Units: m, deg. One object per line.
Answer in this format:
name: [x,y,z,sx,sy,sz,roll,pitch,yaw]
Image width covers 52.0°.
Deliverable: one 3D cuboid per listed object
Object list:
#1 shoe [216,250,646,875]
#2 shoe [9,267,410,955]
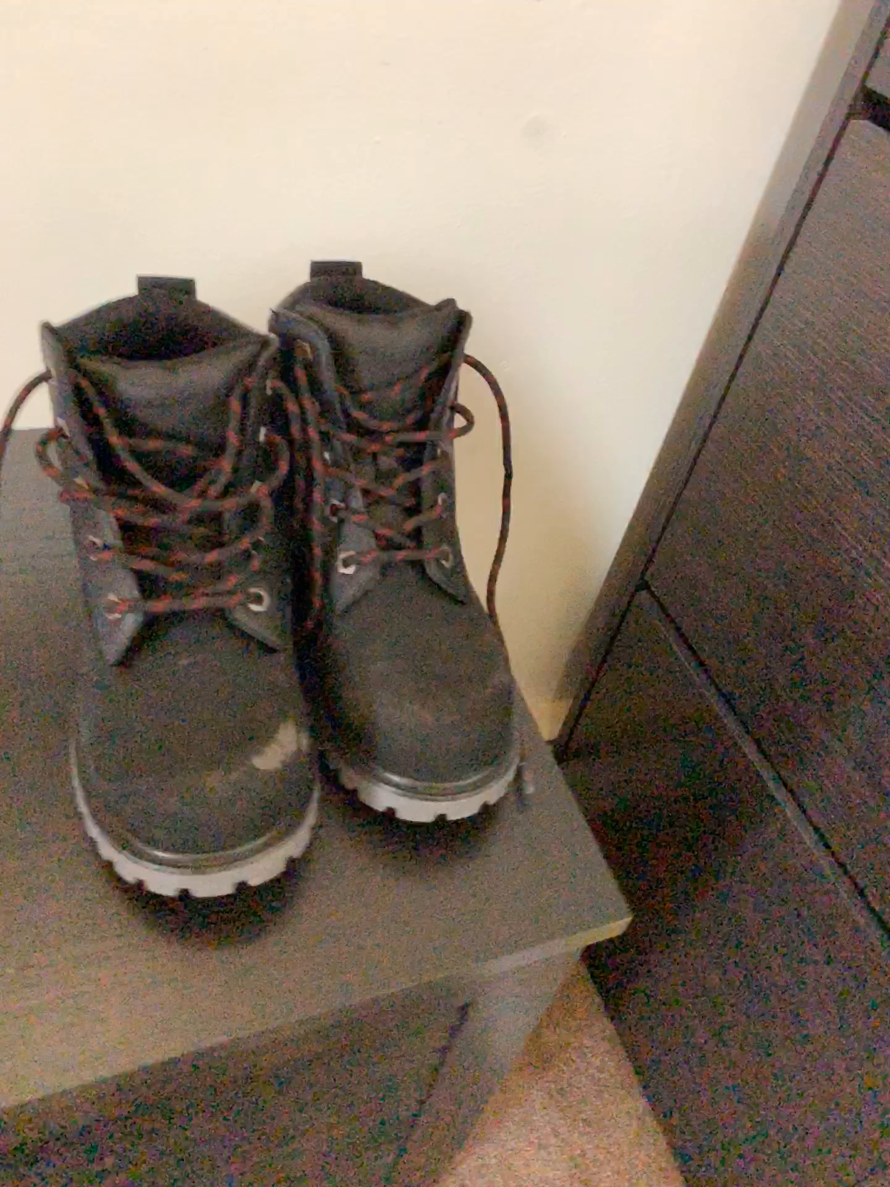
shoe: [-0.031,-0.028,0.413,0.100,0.158,0.232,-8,46,-20]
shoe: [-0.106,-0.007,0.372,0.100,0.158,0.222,-8,46,-20]
